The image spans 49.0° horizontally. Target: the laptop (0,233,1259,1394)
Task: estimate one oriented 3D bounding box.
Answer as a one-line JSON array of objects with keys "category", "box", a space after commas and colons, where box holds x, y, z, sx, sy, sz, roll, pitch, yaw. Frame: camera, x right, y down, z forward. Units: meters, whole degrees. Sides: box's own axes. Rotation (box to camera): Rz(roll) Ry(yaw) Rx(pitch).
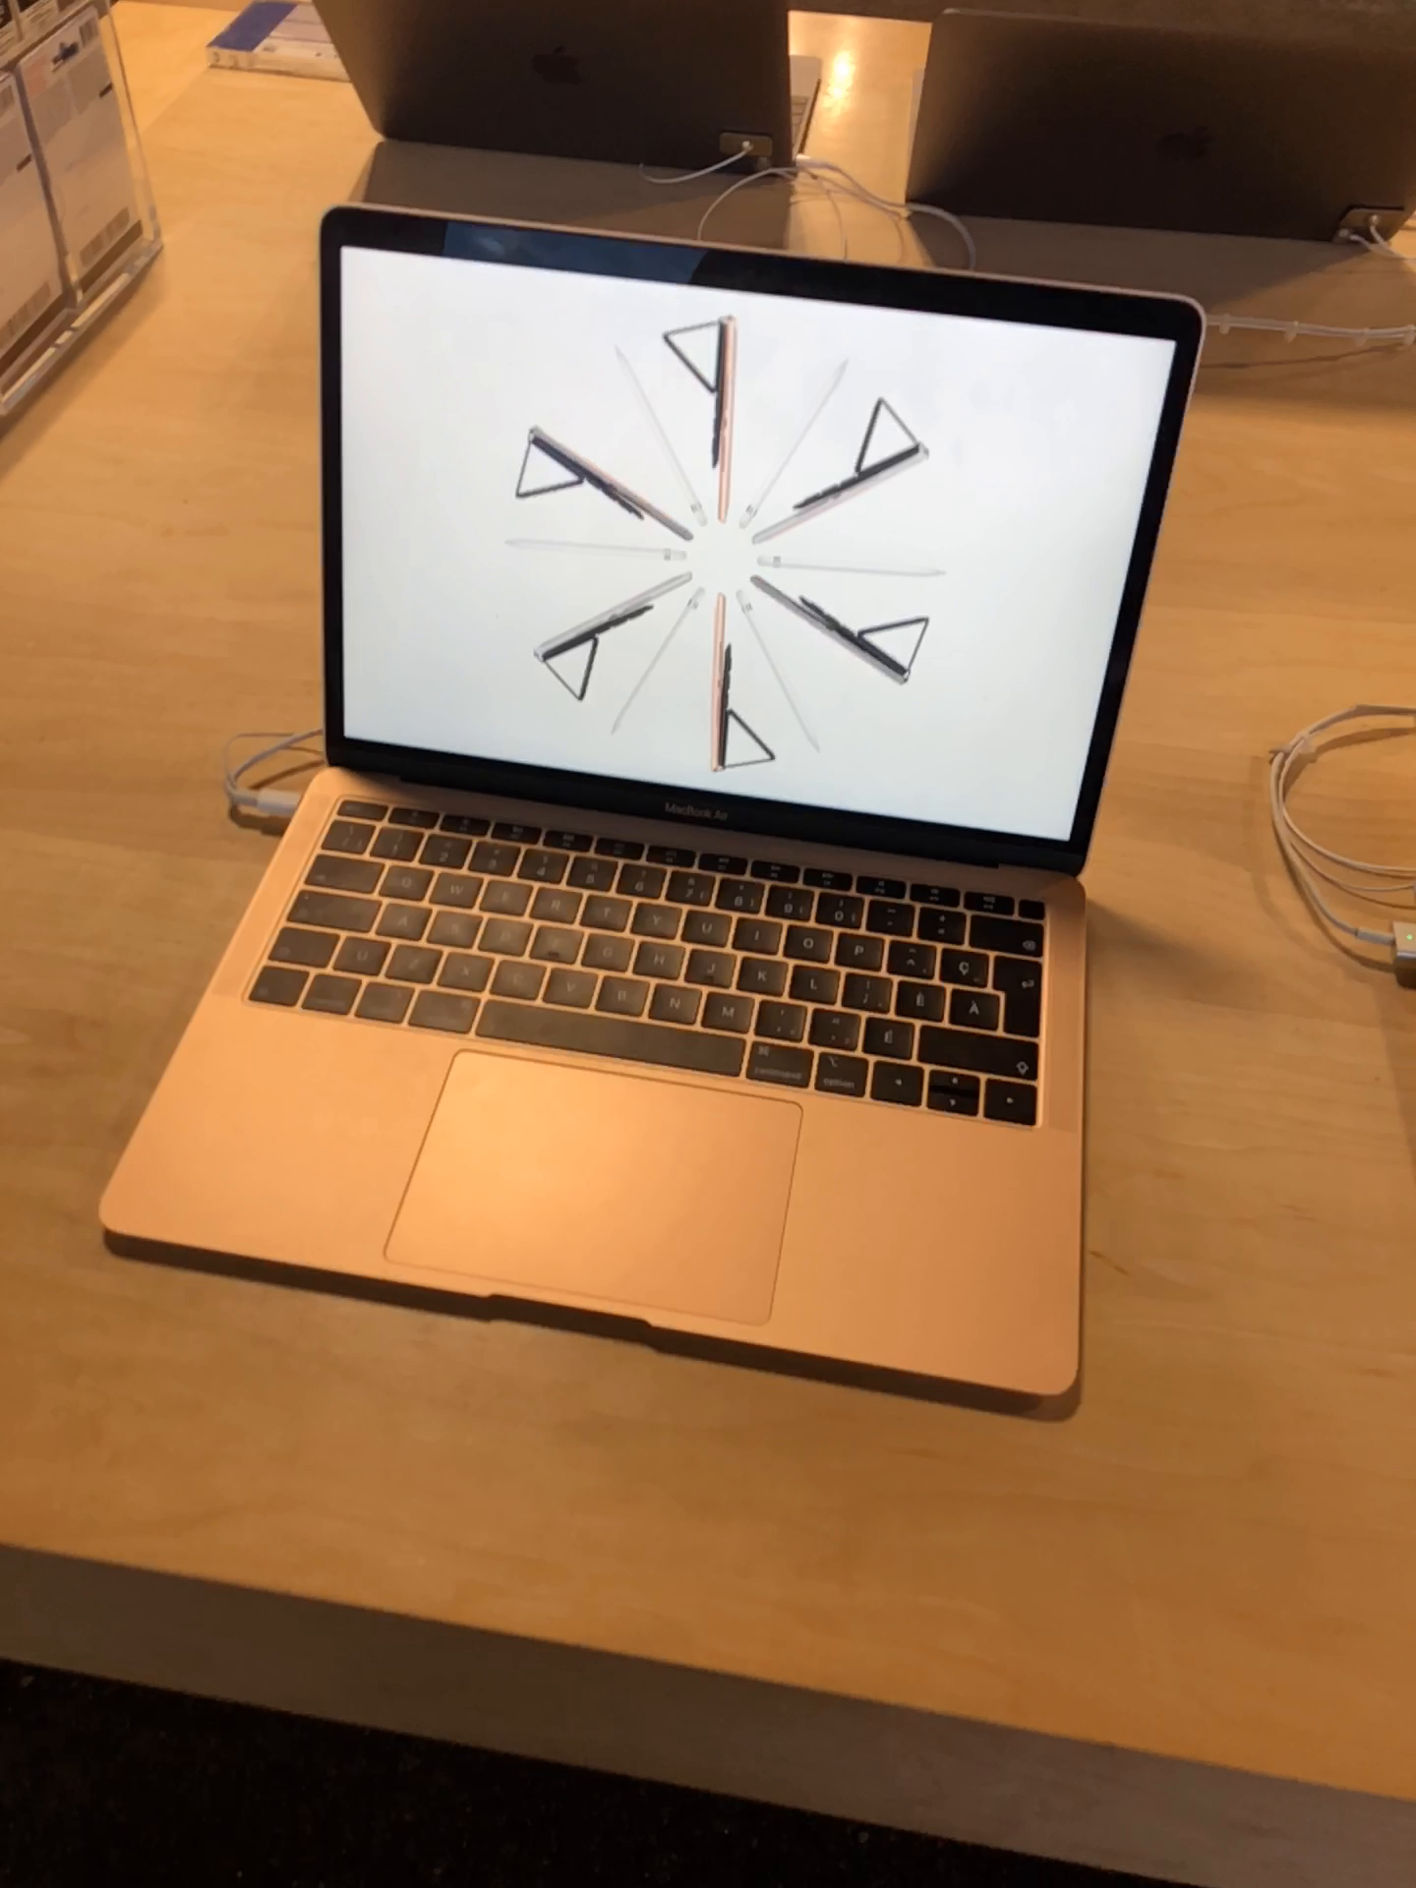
[{"category": "laptop", "box": [-0.010, -0.057, 0.486, 0.291, 0.183, 0.284, 9, 48, 6]}]
